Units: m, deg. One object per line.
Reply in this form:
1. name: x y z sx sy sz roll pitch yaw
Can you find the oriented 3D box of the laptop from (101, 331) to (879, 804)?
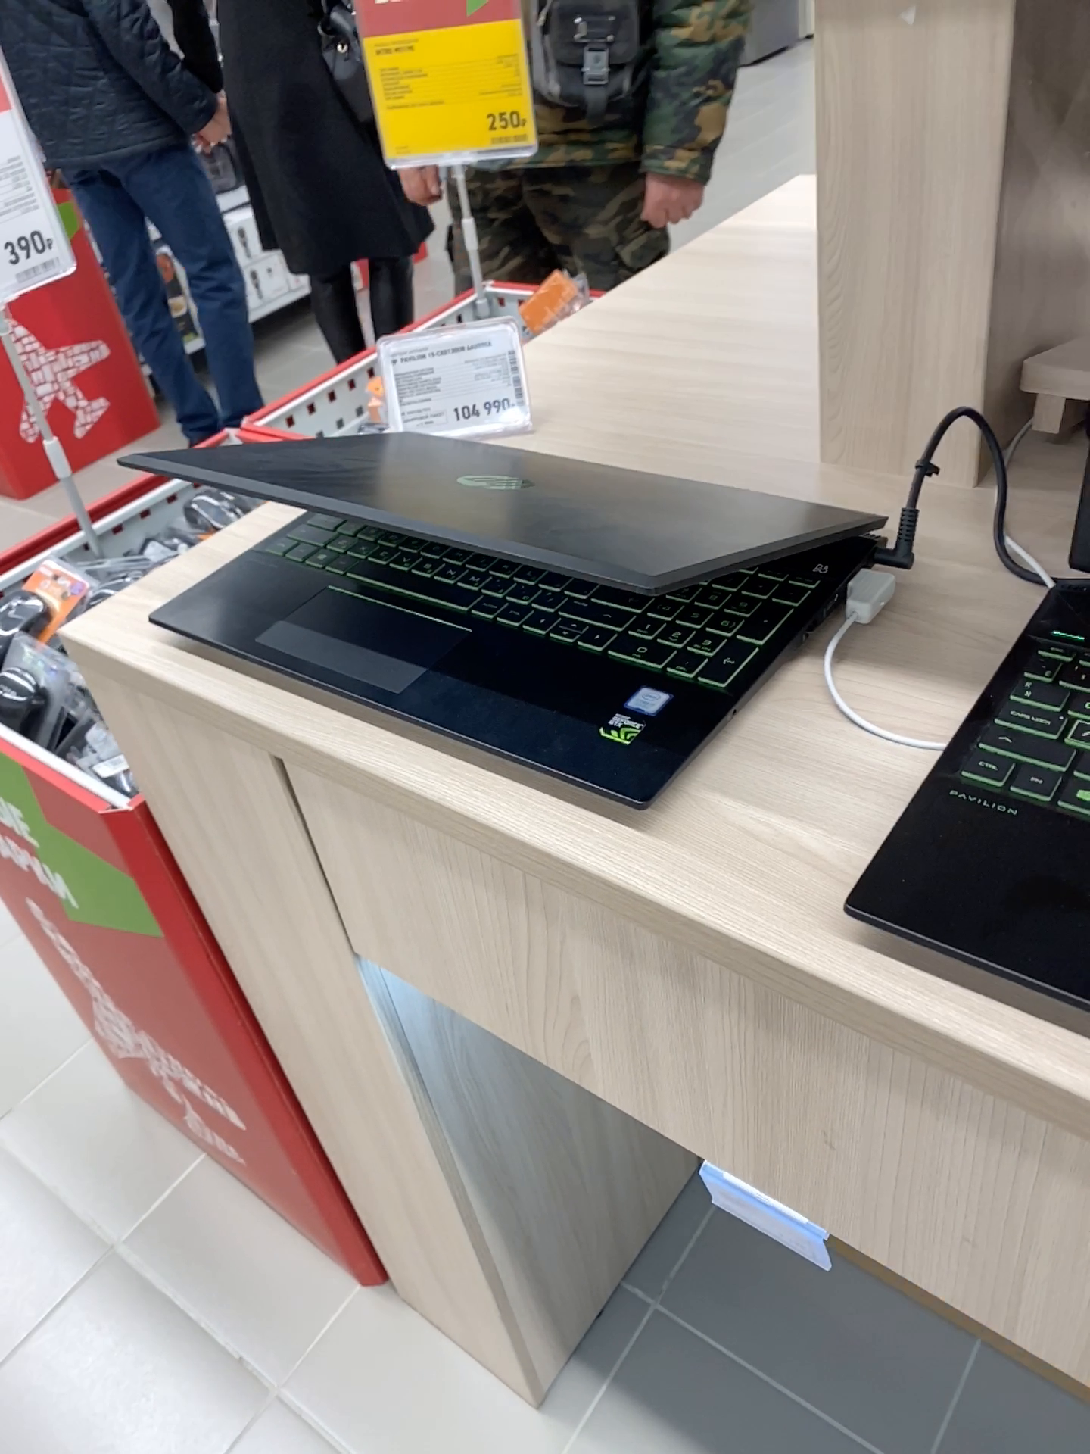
1. laptop: -0.036 -0.122 0.633 0.367 0.086 0.241 20 48 34
